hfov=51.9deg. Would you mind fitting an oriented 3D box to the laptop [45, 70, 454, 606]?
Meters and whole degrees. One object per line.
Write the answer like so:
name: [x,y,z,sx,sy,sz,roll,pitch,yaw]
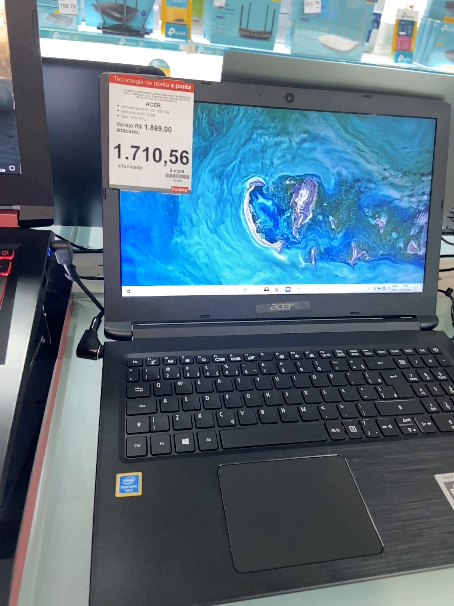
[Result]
laptop: [0.082,-0.024,0.398,0.377,0.216,0.382,-1,36,-12]
